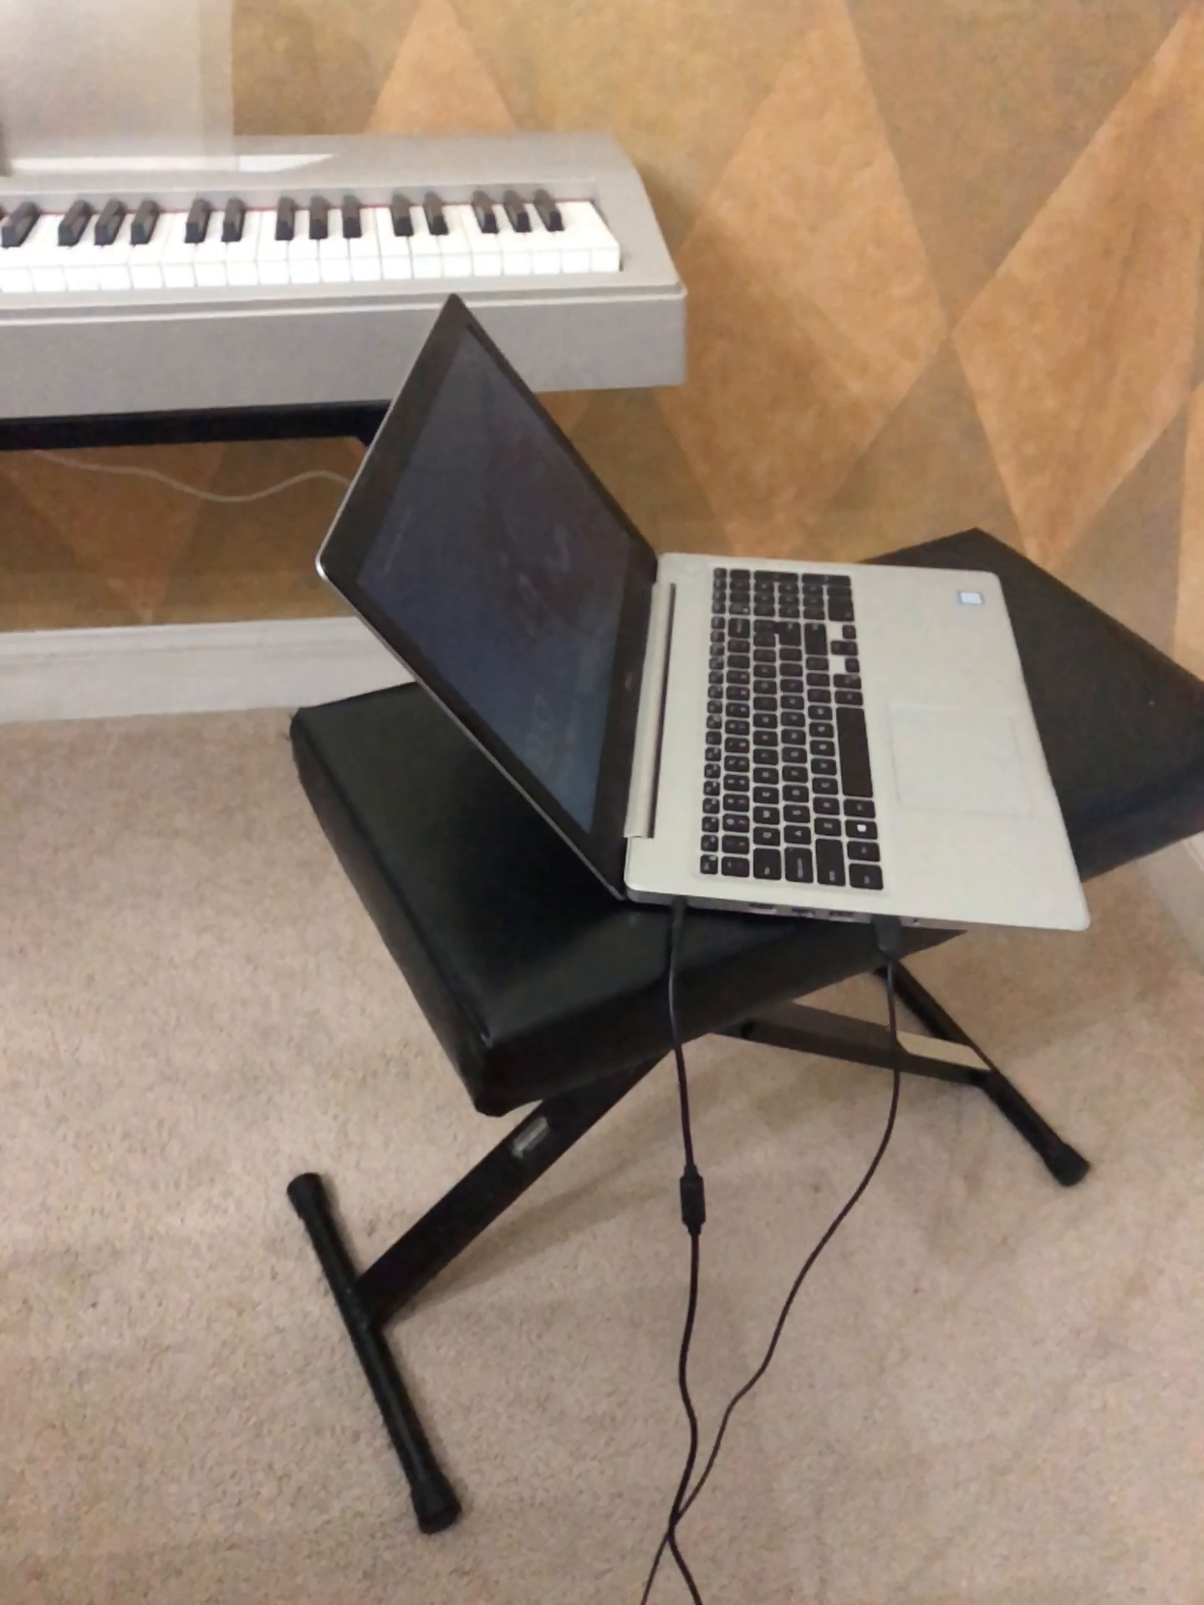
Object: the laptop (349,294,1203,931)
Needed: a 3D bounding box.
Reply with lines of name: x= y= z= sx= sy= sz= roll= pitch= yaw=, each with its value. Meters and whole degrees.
laptop: x=0.101 y=-0.137 z=0.797 sx=0.408 sy=0.183 sz=0.377 roll=5 pitch=40 yaw=2
